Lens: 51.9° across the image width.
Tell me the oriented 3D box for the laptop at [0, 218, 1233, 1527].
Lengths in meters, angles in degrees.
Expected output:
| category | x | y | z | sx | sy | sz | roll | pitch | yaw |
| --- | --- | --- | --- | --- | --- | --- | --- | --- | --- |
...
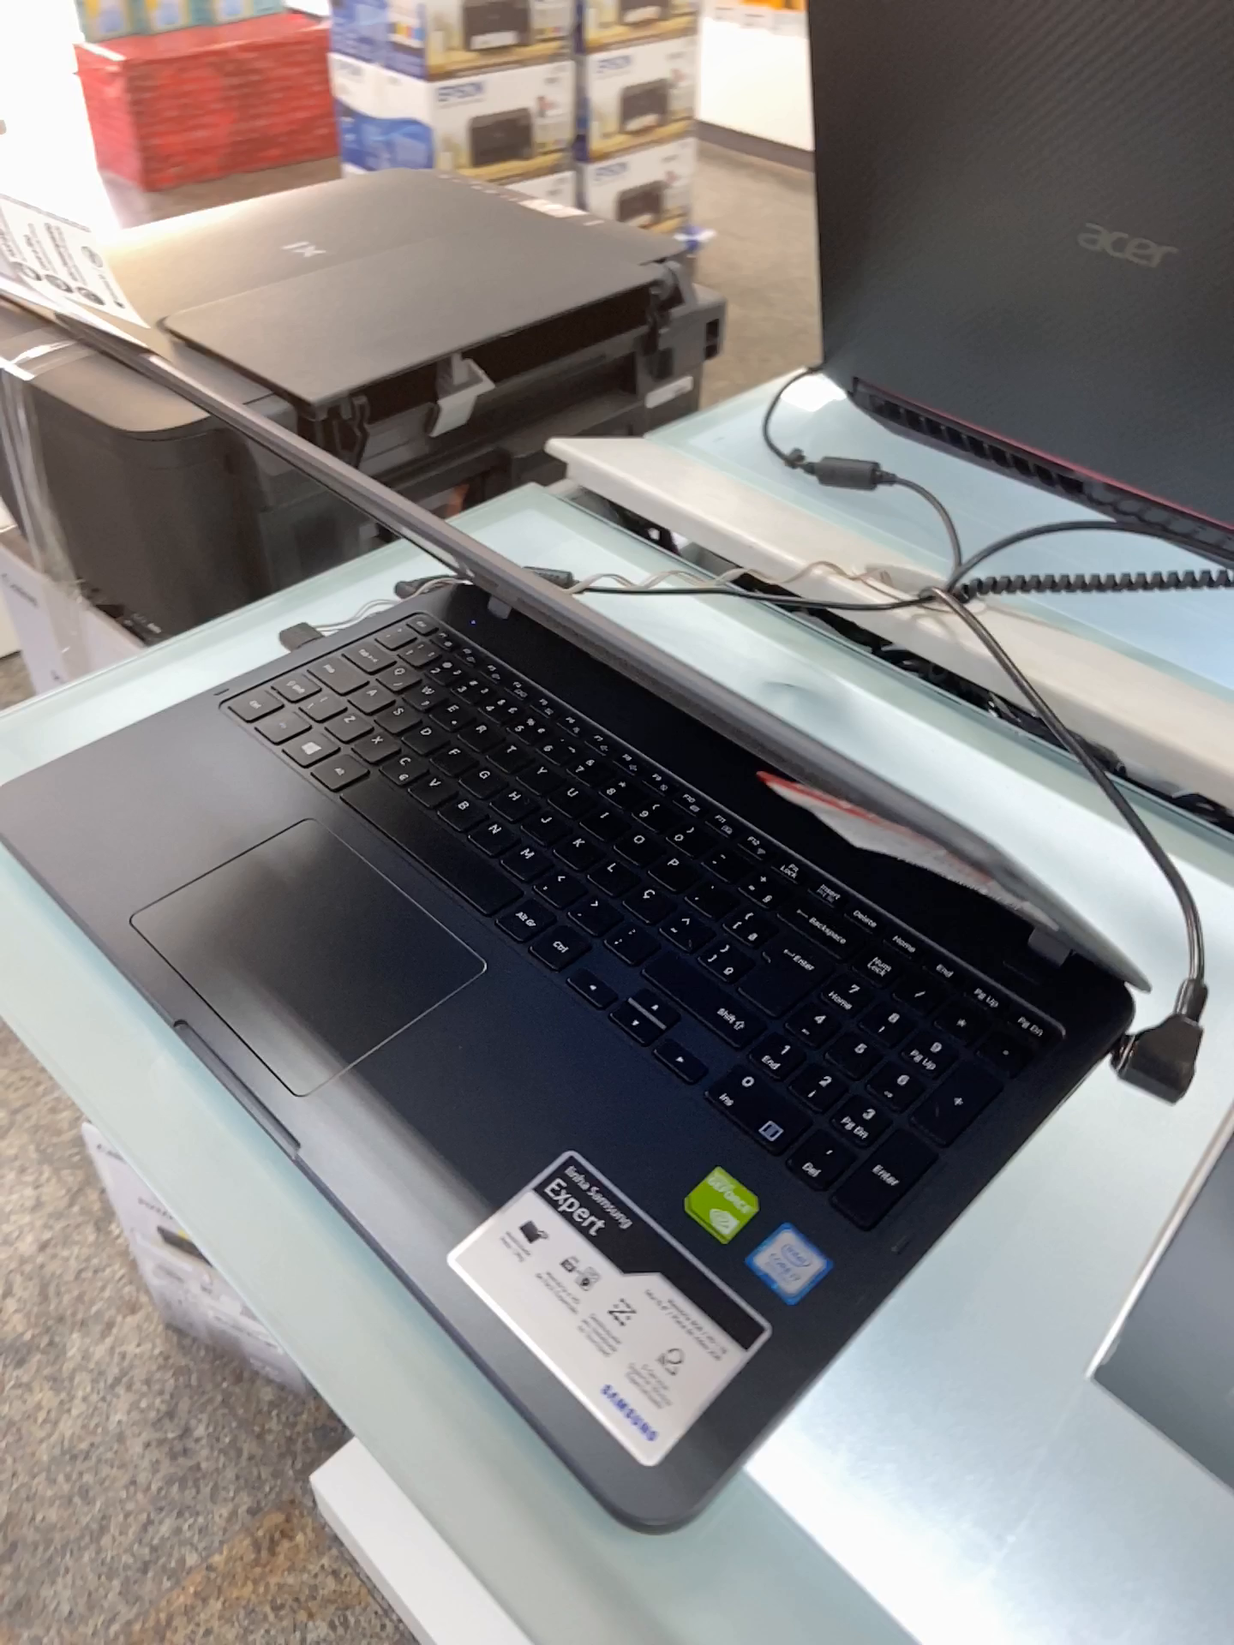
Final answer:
| category | x | y | z | sx | sy | sz | roll | pitch | yaw |
| --- | --- | --- | --- | --- | --- | --- | --- | --- | --- |
| laptop | -0.035 | -0.038 | 0.414 | 0.238 | 0.170 | 0.372 | -33 | 52 | -32 |
